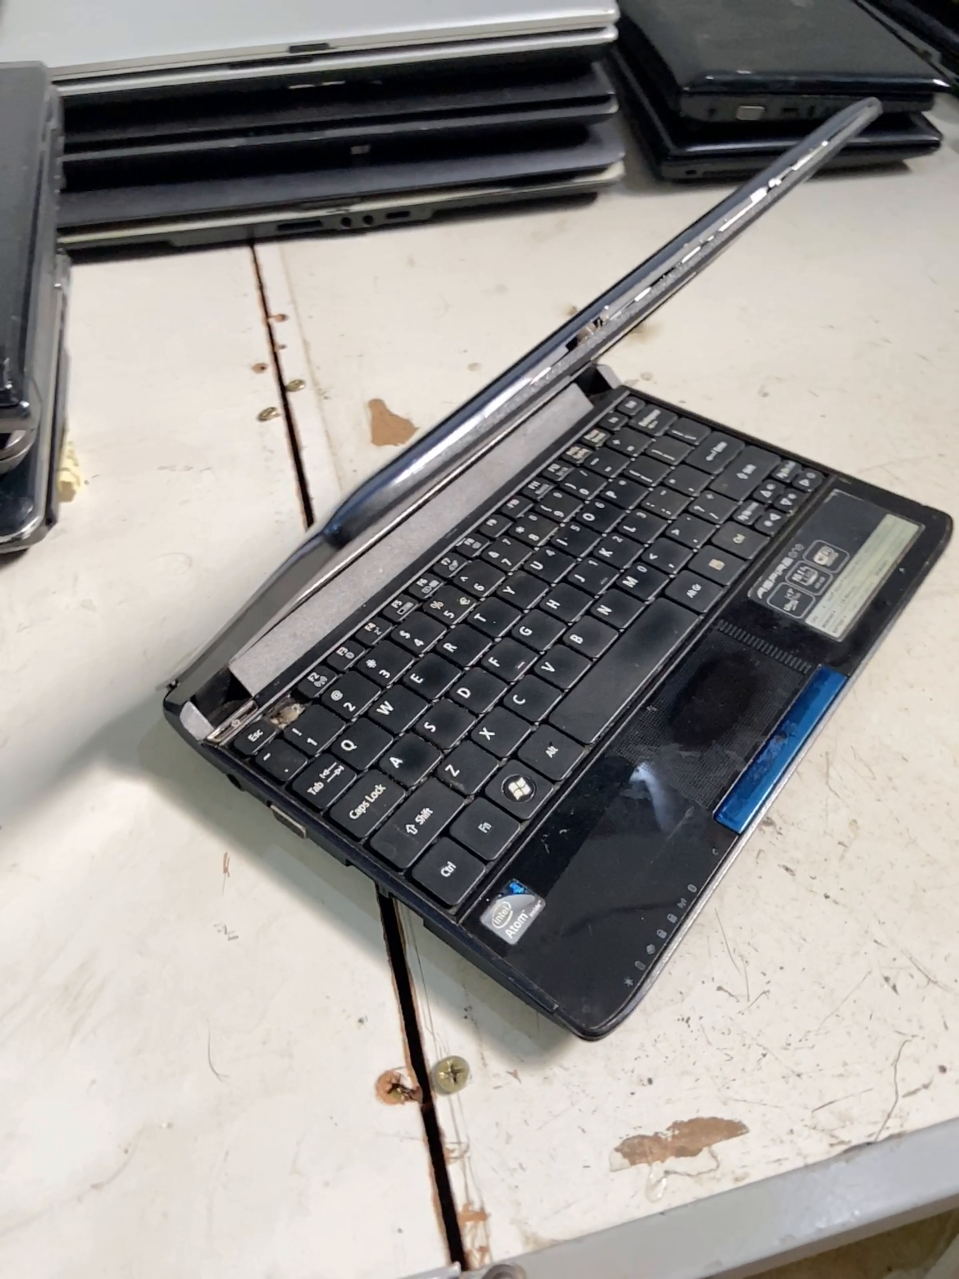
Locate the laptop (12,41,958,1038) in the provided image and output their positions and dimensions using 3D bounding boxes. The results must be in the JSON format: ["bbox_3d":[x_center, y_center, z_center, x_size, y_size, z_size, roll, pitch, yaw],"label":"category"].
[{"bbox_3d":[0.037,-0.057,0.299,0.171,0.131,0.245,29,55,25],"label":"laptop"}]
